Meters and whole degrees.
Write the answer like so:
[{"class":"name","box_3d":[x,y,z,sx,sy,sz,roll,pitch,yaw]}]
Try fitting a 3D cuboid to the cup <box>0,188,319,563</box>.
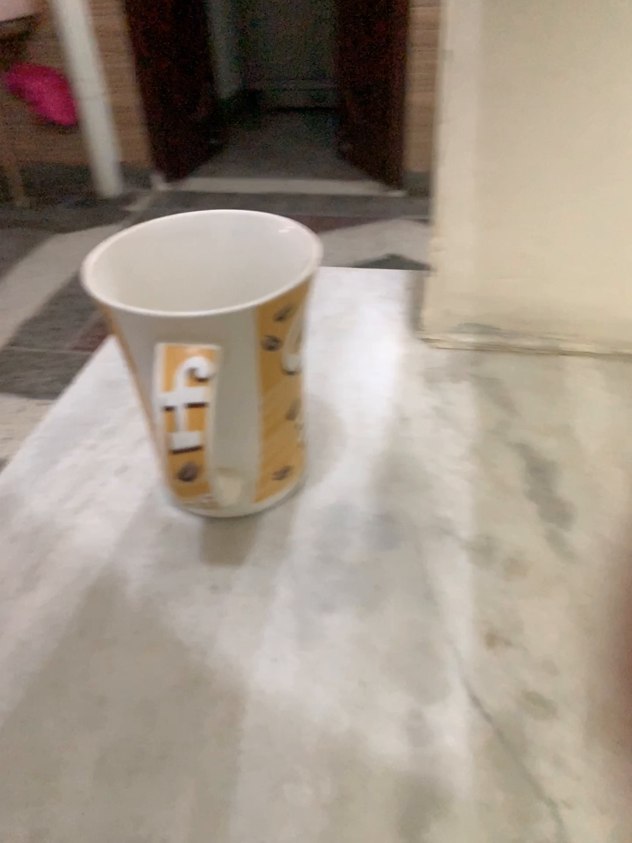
[{"class":"cup","box_3d":[-0.042,-0.020,0.244,0.080,0.100,0.100,0,39,3]}]
